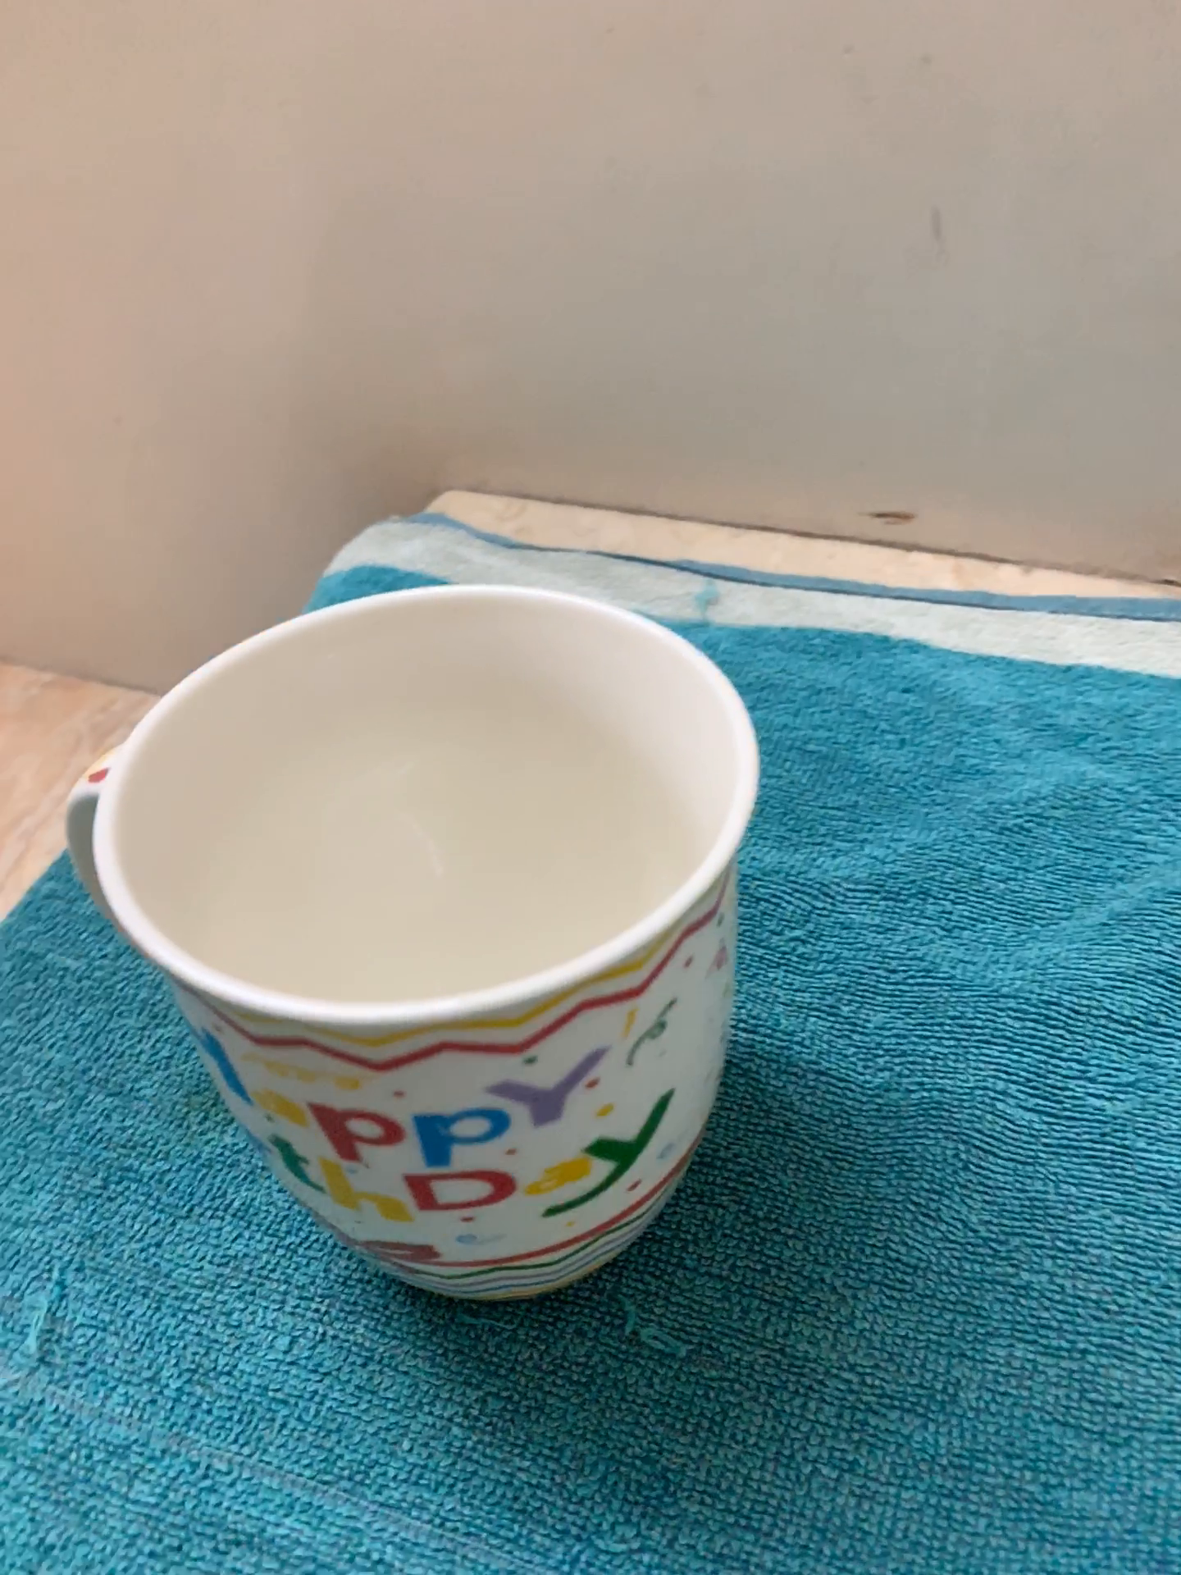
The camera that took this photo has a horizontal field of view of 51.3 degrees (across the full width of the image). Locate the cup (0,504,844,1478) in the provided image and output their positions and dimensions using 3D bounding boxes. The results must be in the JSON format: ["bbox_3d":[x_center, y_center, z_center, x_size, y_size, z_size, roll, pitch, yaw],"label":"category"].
[{"bbox_3d":[-0.036,0.026,0.211,0.130,0.099,0.091,14,44,21],"label":"cup"}]
